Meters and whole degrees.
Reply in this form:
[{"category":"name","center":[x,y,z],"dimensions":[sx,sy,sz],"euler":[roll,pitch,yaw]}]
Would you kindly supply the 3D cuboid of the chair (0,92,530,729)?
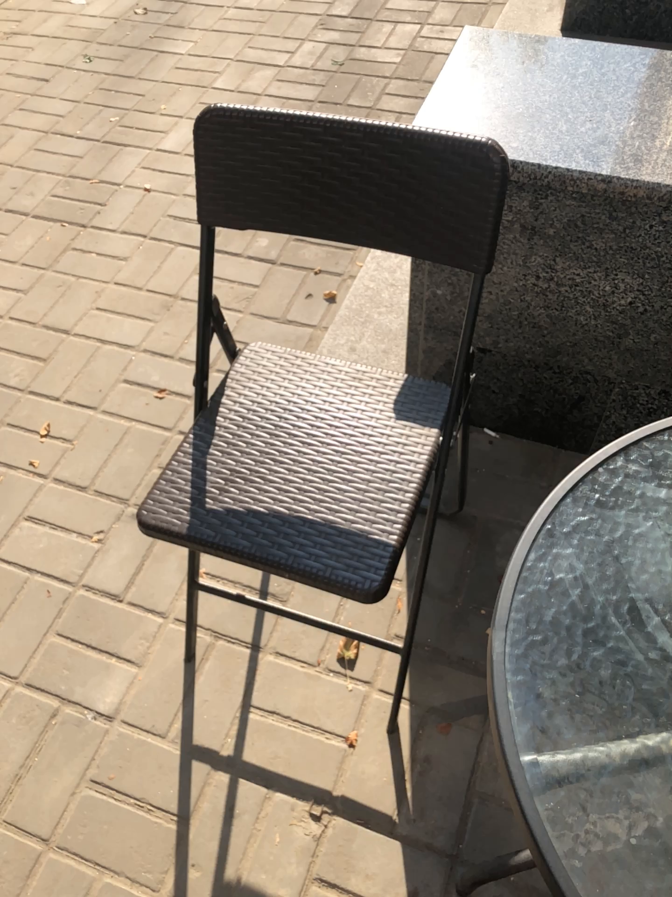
[{"category":"chair","center":[-0.037,-0.001,1.106],"dimensions":[0.430,0.778,0.481],"euler":[15,56,13]}]
